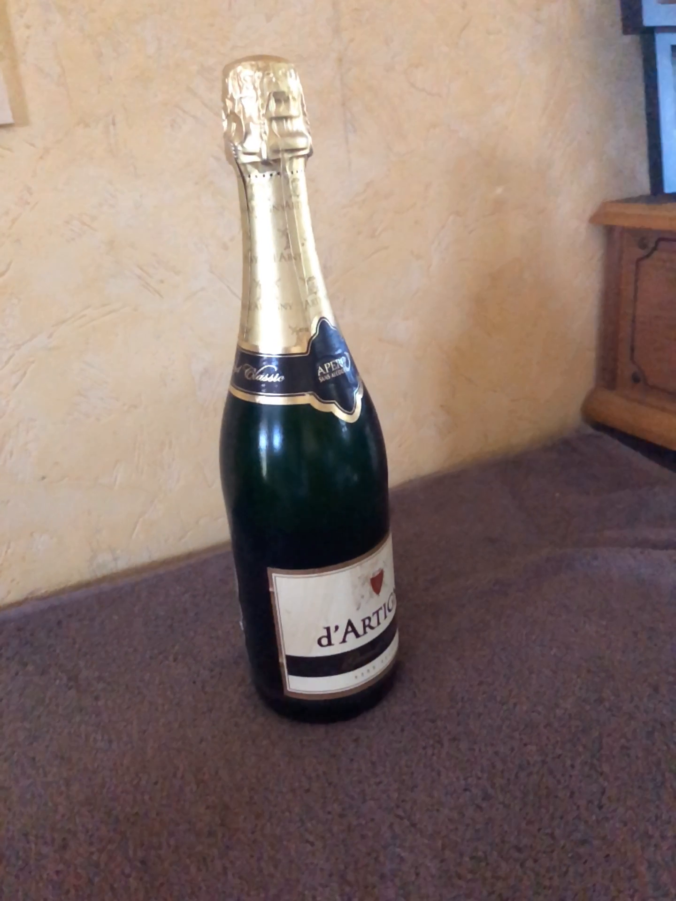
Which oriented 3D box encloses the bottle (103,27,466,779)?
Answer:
[{"bbox_3d":[-0.011,-0.016,0.363,0.100,0.318,0.101,-4,23,2],"label":"bottle"}]
